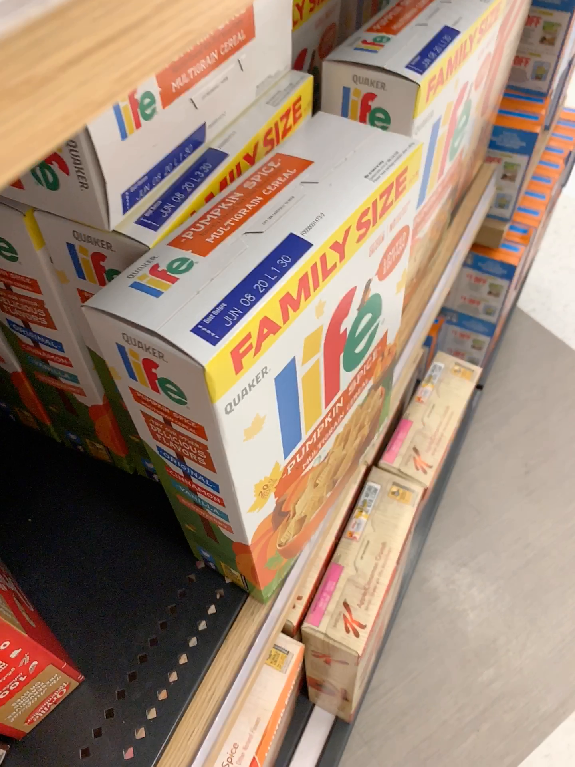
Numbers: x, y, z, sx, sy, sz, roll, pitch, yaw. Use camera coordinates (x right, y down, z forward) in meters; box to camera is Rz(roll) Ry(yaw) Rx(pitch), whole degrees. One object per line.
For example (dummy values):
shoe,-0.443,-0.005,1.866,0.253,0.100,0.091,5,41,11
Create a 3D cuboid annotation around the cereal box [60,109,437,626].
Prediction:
cereal box,0.002,0.003,0.372,0.070,0.249,0.200,25,56,24
